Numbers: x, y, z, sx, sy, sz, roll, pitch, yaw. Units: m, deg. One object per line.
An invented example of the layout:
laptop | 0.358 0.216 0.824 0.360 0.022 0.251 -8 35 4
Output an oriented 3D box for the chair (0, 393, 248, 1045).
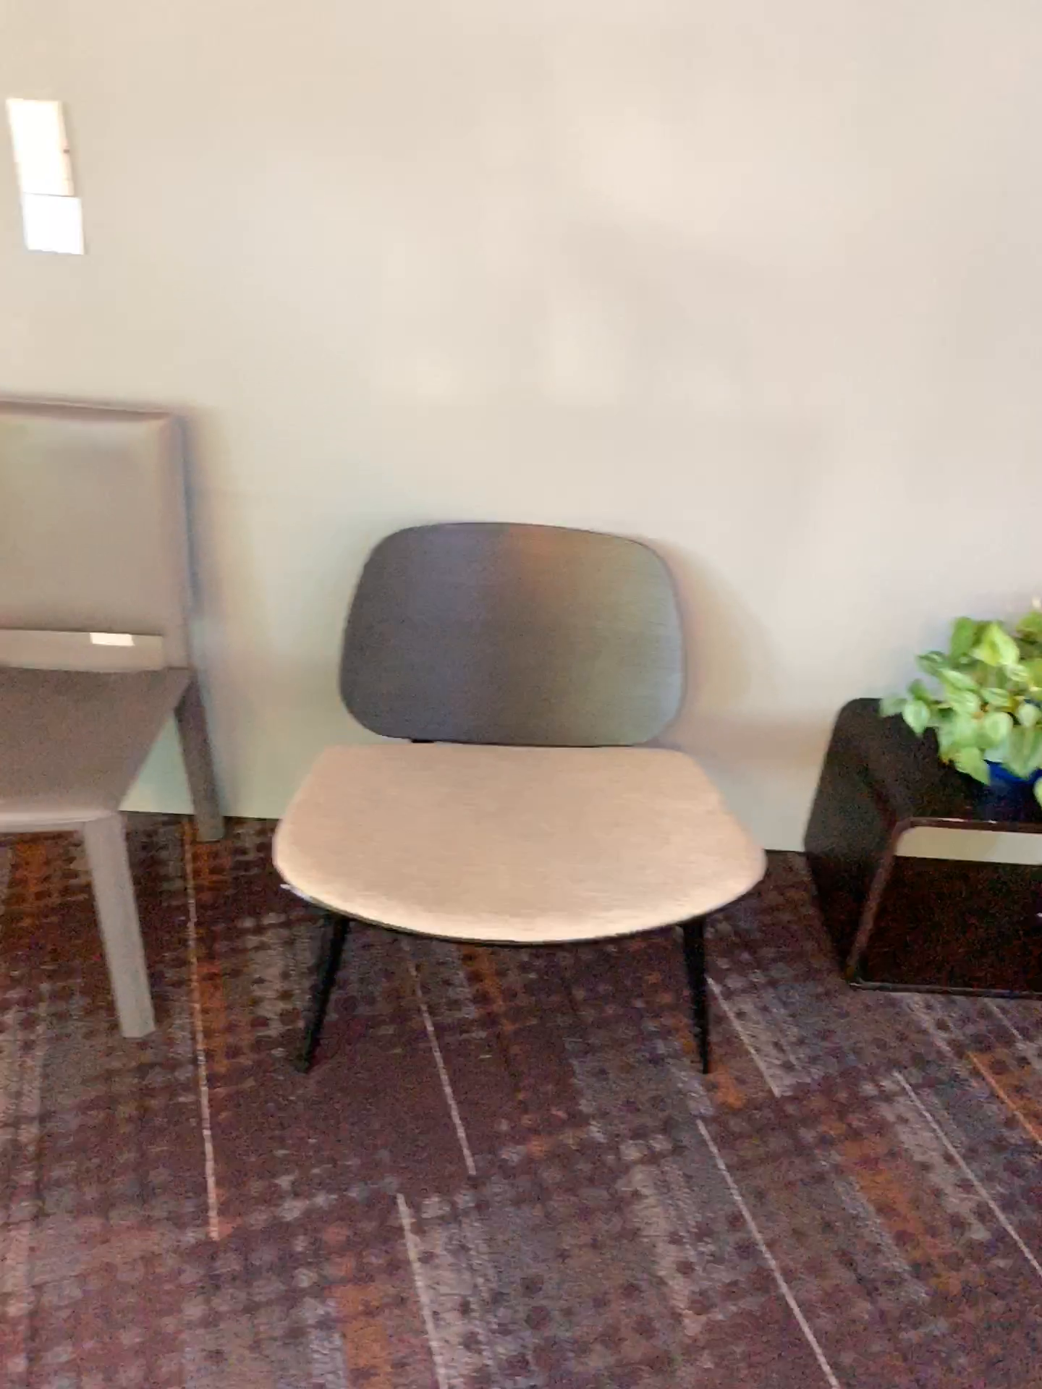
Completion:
chair | -0.872 0.026 1.786 0.640 0.835 0.694 2 32 -4

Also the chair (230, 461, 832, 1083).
chair | -0.024 0.125 1.907 0.790 0.835 0.714 2 32 -4
